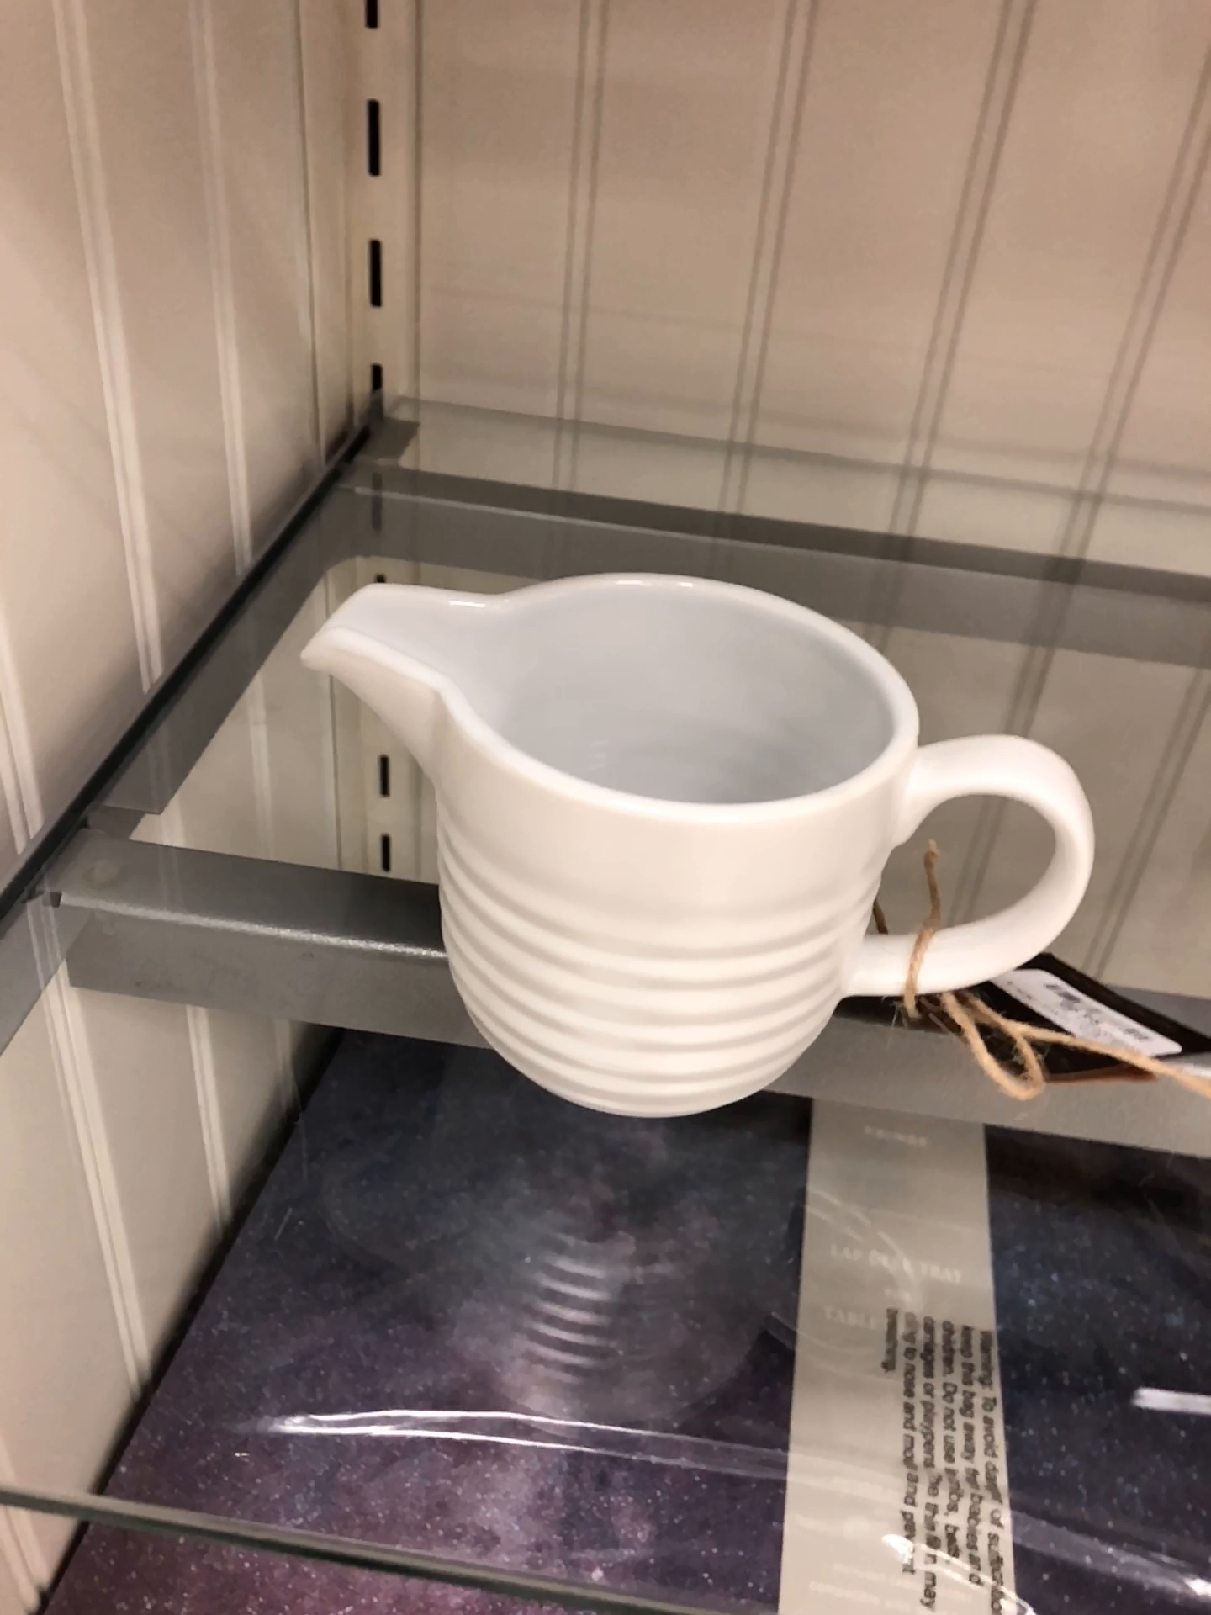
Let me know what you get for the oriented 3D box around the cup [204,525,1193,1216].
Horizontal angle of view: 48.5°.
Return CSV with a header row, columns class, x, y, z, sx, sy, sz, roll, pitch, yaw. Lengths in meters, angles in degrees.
class,x,y,z,sx,sy,sz,roll,pitch,yaw
cup,0.014,0.007,0.237,0.140,0.069,0.071,10,36,5
